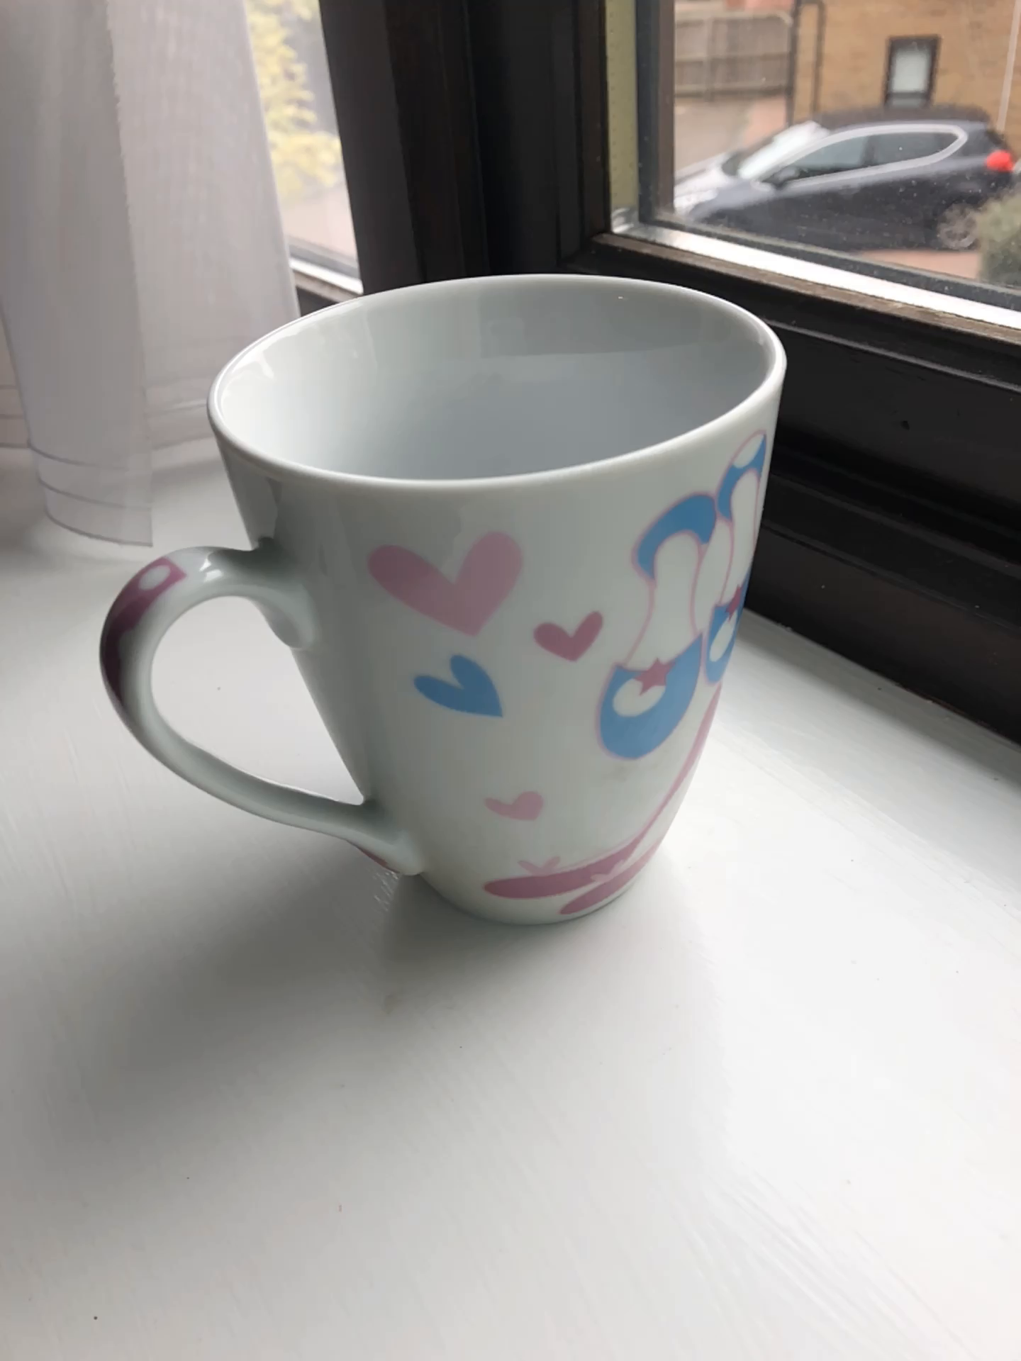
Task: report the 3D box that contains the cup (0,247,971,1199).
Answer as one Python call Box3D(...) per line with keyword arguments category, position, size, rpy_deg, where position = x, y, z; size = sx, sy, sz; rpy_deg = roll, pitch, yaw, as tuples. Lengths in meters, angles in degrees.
Box3D(category="cup", position=(-0.007, -0.012, 0.215), size=(0.141, 0.089, 0.110), rpy_deg=(-31, 42, -33))
